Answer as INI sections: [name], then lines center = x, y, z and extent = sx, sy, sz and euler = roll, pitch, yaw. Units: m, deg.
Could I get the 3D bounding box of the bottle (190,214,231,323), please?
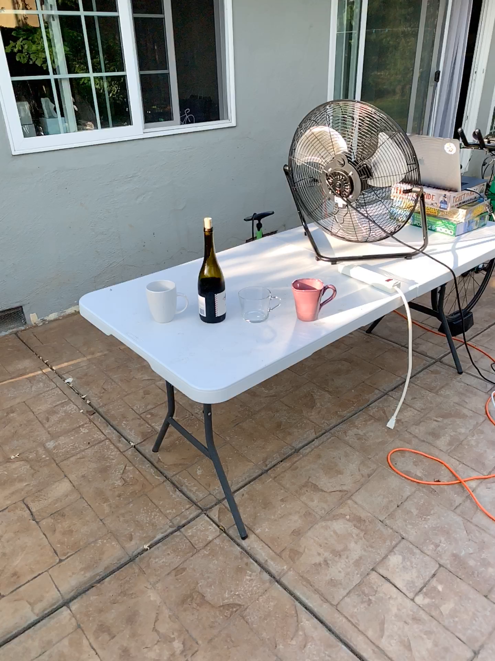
[bottle]
center = -0.110, -0.185, 1.527
extent = 0.100, 0.303, 0.104
euler = -1, 28, 1
